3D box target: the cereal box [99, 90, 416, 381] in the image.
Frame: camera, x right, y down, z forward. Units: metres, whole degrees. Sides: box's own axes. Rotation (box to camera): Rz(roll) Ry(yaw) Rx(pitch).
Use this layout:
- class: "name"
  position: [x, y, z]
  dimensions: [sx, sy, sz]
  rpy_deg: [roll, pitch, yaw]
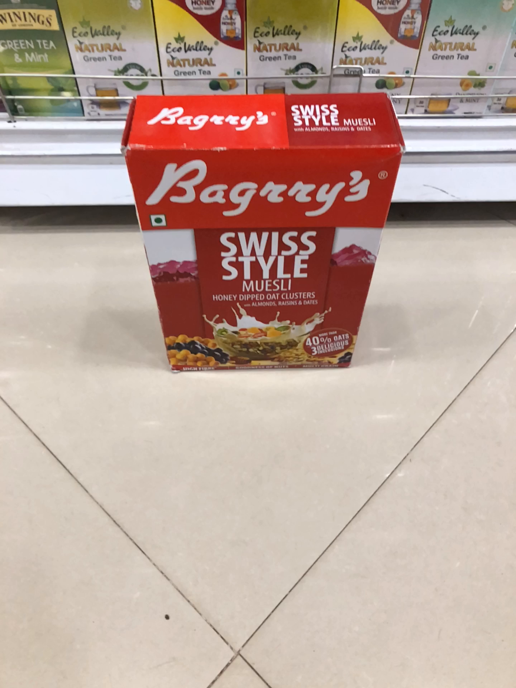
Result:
- class: "cereal box"
  position: [-0.001, -0.074, 0.483]
  dimensions: [0.200, 0.248, 0.080]
  rpy_deg: [-1, 52, -1]
